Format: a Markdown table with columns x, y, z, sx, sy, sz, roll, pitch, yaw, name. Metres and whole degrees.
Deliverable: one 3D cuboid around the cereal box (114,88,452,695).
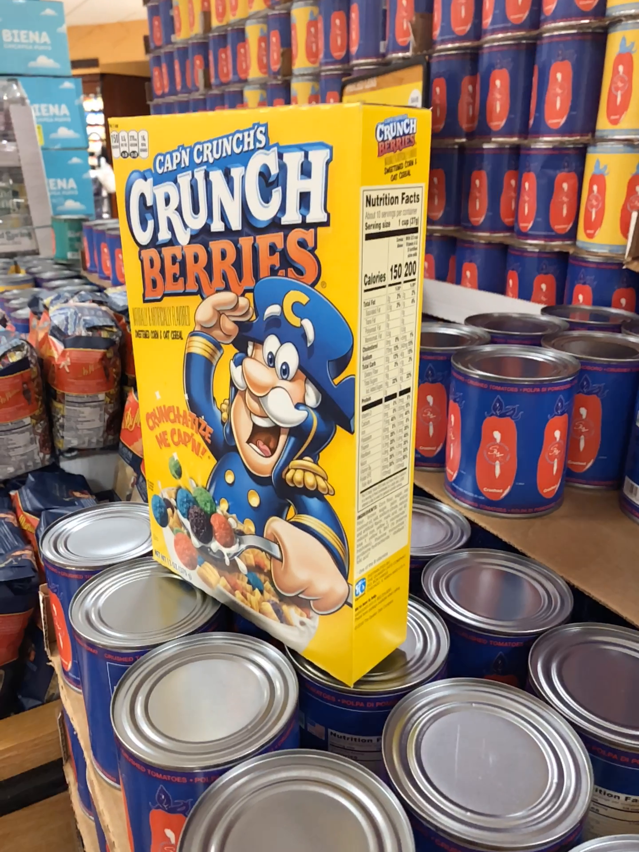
| x | y | z | sx | sy | sz | roll | pitch | yaw | name |
| --- | --- | --- | --- | --- | --- | --- | --- | --- | --- |
| -0.027 | -0.025 | 0.413 | 0.190 | 0.298 | 0.060 | 19 | 28 | 41 | cereal box |
